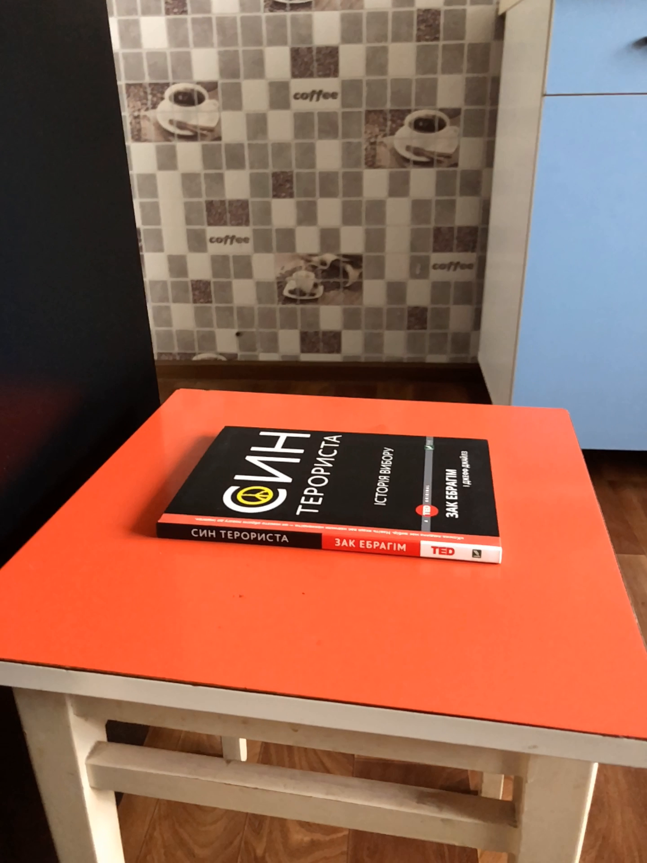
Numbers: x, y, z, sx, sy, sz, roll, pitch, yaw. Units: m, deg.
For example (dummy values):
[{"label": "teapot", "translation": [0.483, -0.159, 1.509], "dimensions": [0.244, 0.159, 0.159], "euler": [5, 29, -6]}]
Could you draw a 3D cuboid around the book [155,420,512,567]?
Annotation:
[{"label": "book", "translation": [0.014, 0.033, 0.476], "dimensions": [0.205, 0.013, 0.150], "euler": [3, 25, 8]}]
